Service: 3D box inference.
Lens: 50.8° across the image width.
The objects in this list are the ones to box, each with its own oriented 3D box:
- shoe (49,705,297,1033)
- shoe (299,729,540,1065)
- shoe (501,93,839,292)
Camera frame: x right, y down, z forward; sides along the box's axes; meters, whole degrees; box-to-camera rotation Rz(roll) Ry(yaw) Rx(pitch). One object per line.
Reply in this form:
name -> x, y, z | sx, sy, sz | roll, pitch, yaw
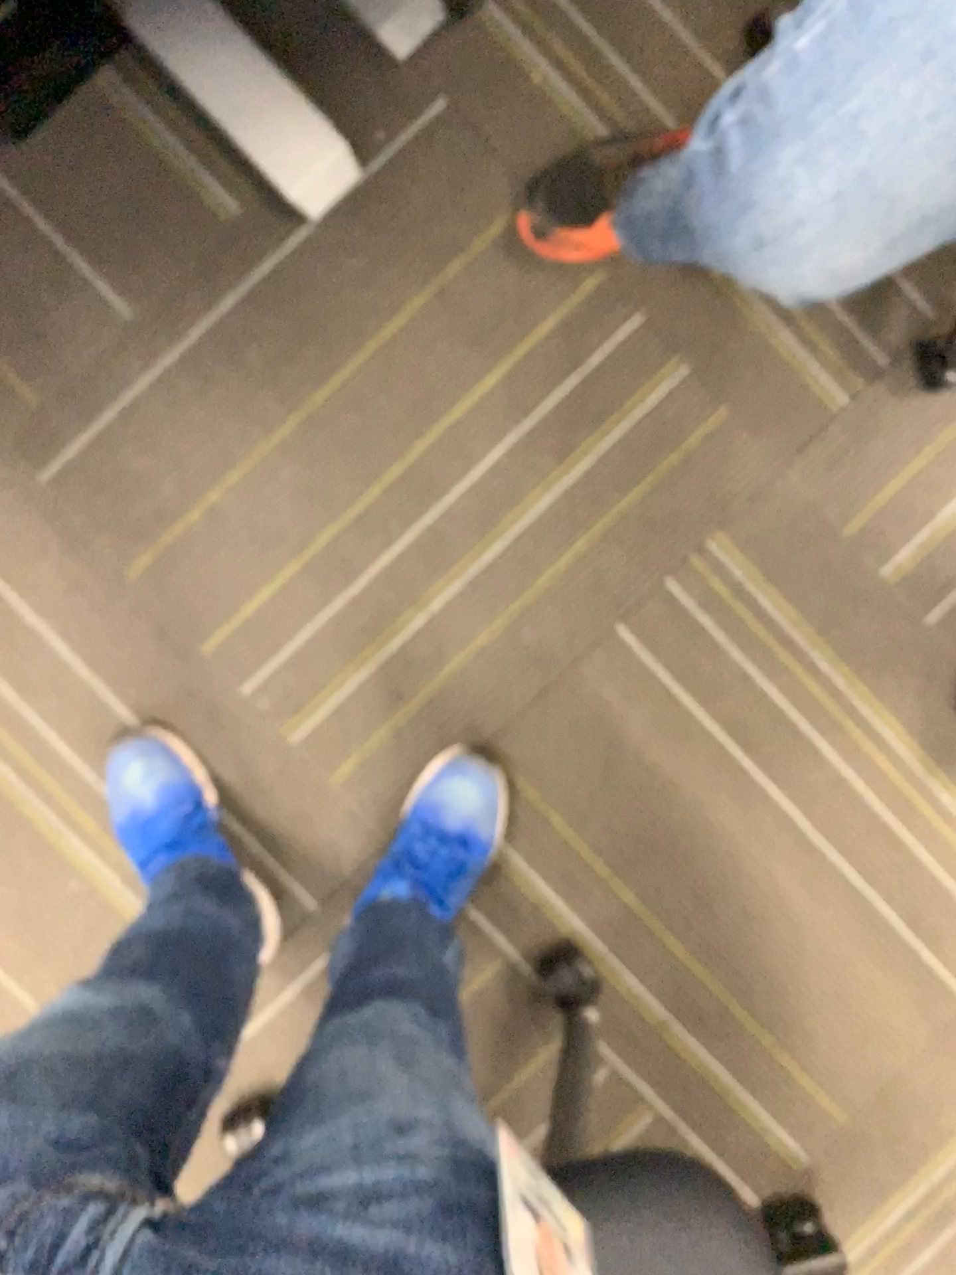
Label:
shoe -> -0.322, 0.249, 1.093 | 0.141, 0.088, 0.310 | -19, 102, -2
shoe -> -0.064, 0.285, 1.112 | 0.119, 0.088, 0.338 | 27, 100, -3
shoe -> 0.186, -0.437, 0.991 | 0.304, 0.088, 0.117 | -11, 115, 2
